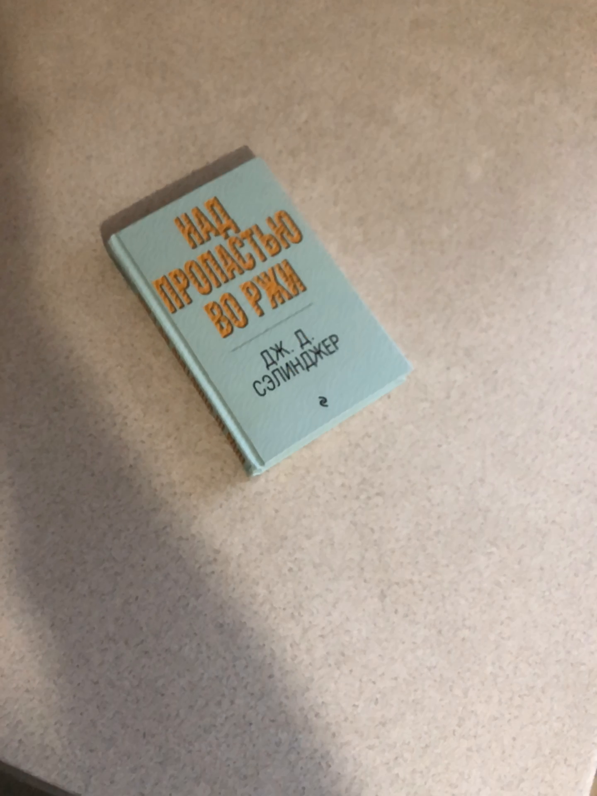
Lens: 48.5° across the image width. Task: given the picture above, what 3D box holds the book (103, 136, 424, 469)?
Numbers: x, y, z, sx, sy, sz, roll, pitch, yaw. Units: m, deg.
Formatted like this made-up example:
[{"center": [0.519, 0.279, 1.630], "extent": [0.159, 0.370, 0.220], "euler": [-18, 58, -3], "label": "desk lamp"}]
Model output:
[{"center": [-0.024, -0.063, 0.404], "extent": [0.115, 0.020, 0.175], "euler": [-32, 77, -9], "label": "book"}]
